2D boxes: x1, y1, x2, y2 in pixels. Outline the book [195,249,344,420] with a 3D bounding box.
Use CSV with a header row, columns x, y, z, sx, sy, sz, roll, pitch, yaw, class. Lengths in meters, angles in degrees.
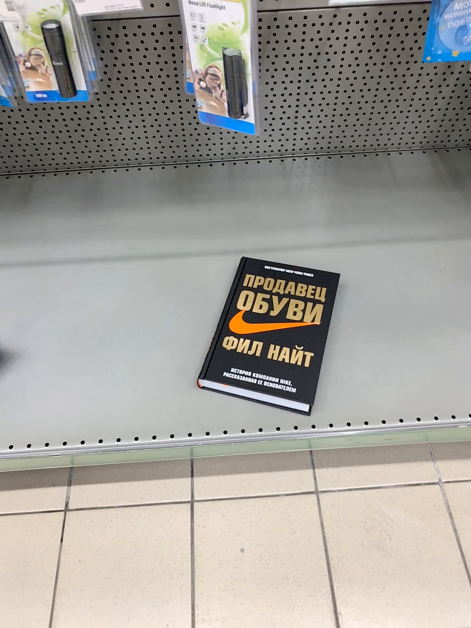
x,y,z,sx,sy,sz,roll,pitch,yaw,class
0.060,0.020,0.747,0.170,0.042,0.251,13,56,10,book
